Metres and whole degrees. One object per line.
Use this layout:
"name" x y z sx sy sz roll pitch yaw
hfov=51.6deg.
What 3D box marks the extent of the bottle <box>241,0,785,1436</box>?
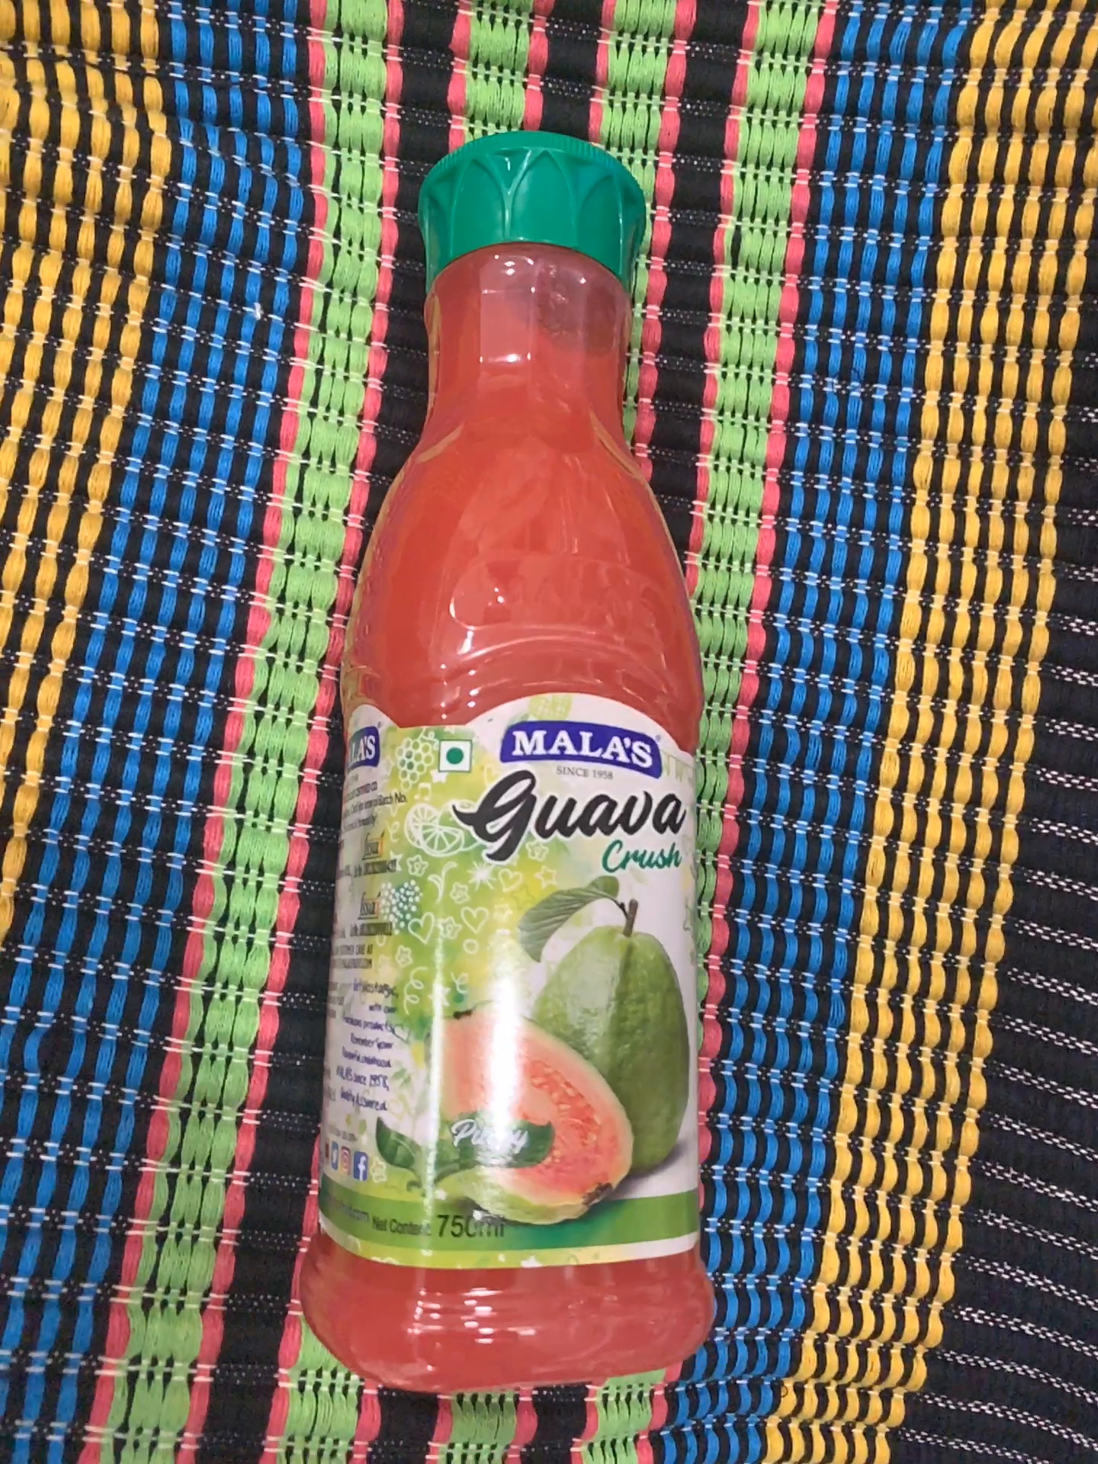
"bottle" -0.014 -0.014 0.242 0.080 0.080 0.260 4 75 -19
